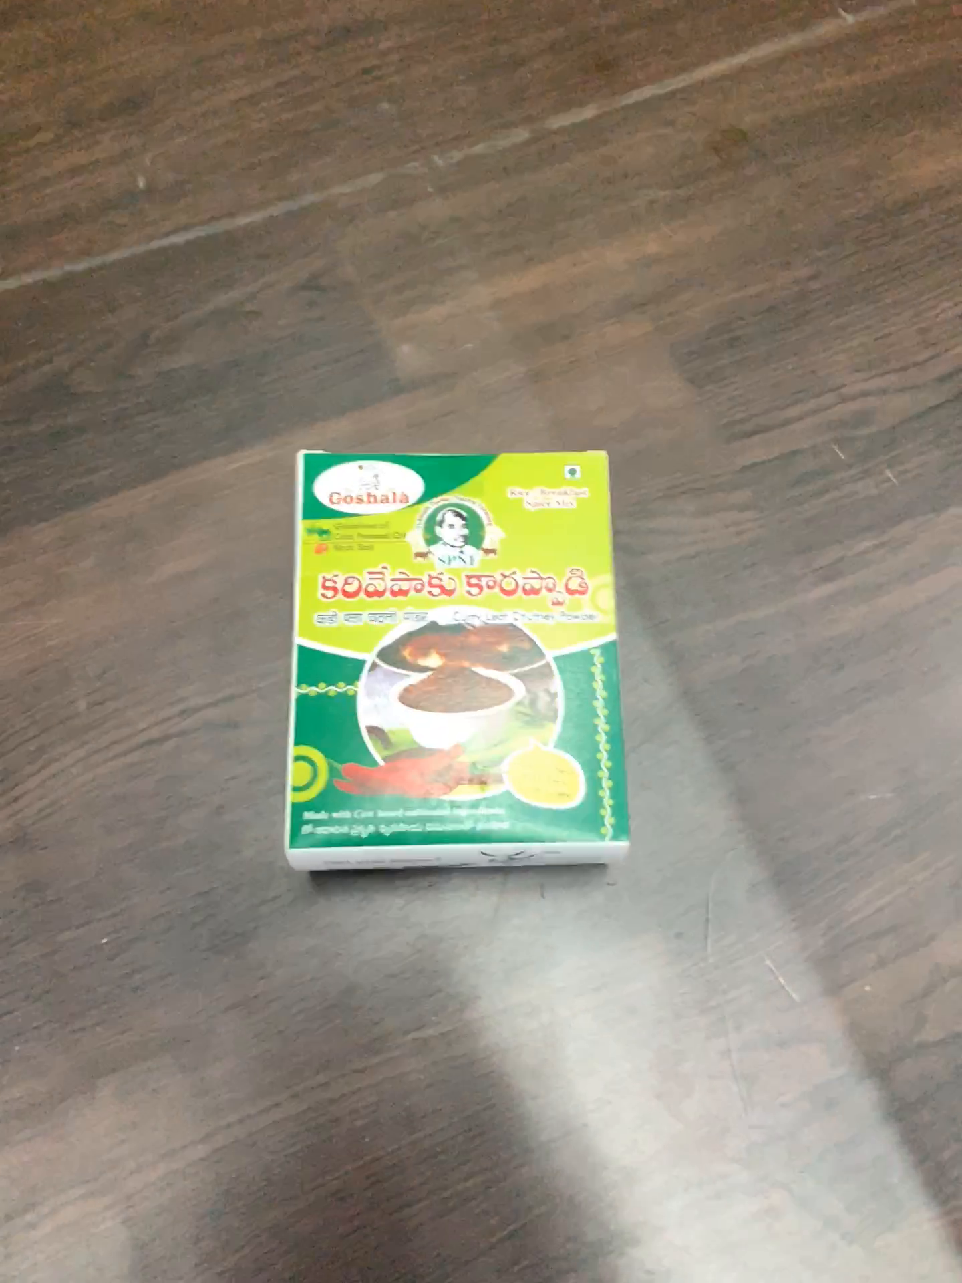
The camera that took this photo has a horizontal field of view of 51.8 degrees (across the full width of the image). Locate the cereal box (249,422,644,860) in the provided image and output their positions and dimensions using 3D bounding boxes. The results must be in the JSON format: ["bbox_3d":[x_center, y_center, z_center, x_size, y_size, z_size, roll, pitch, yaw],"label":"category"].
[{"bbox_3d":[-0.010,-0.001,0.289,0.100,0.040,0.120,-1,71,-1],"label":"cereal box"}]
